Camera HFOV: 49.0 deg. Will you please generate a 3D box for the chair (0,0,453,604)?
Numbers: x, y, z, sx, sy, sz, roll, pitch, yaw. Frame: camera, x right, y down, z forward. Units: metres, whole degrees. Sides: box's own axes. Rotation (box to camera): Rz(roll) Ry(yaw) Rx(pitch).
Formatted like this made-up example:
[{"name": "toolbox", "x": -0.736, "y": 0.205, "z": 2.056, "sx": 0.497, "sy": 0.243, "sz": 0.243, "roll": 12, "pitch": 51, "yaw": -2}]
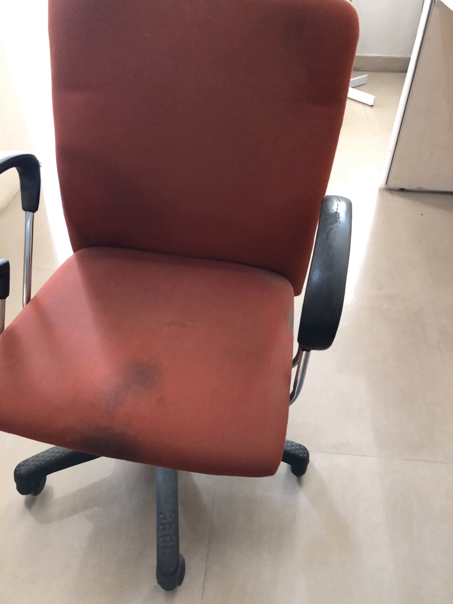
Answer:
[{"name": "chair", "x": -0.115, "y": 0.023, "z": 0.952, "sx": 0.770, "sy": 1.043, "sz": 0.705, "roll": 9, "pitch": 42, "yaw": 8}]
